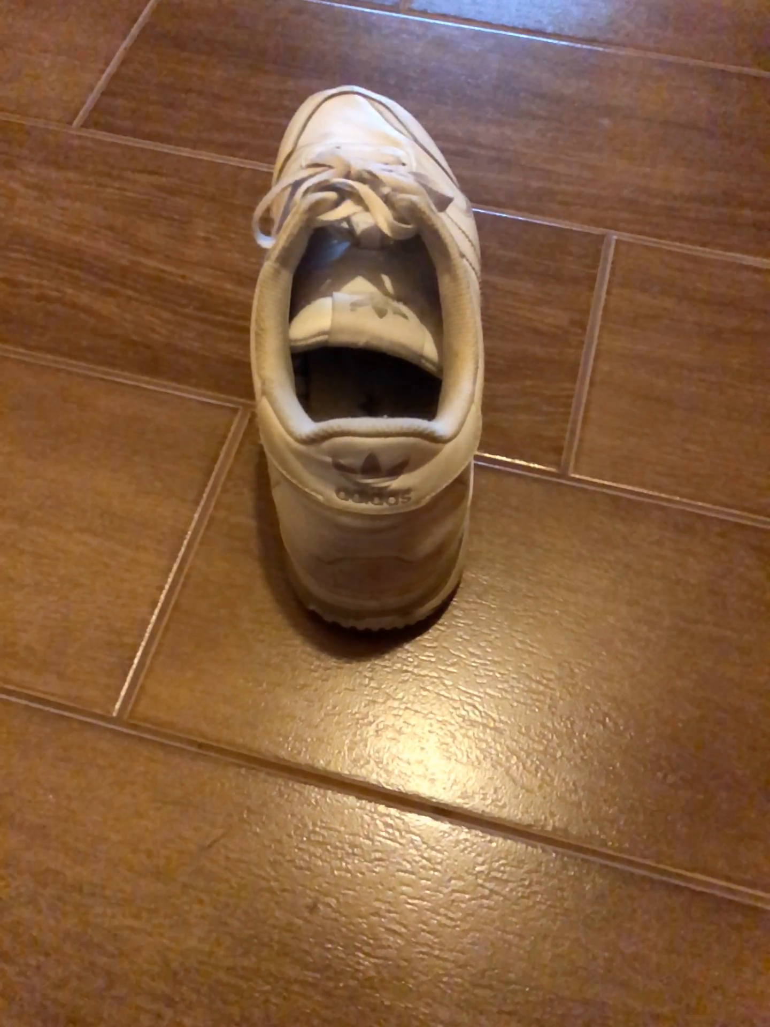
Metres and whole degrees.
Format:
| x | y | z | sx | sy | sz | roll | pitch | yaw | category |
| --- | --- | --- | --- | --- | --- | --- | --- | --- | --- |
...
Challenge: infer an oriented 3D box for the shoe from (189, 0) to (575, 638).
| x | y | z | sx | sy | sz | roll | pitch | yaw | category |
| --- | --- | --- | --- | --- | --- | --- | --- | --- | --- |
| -0.002 | -0.101 | 0.356 | 0.104 | 0.139 | 0.271 | 0 | 62 | -1 | shoe |
